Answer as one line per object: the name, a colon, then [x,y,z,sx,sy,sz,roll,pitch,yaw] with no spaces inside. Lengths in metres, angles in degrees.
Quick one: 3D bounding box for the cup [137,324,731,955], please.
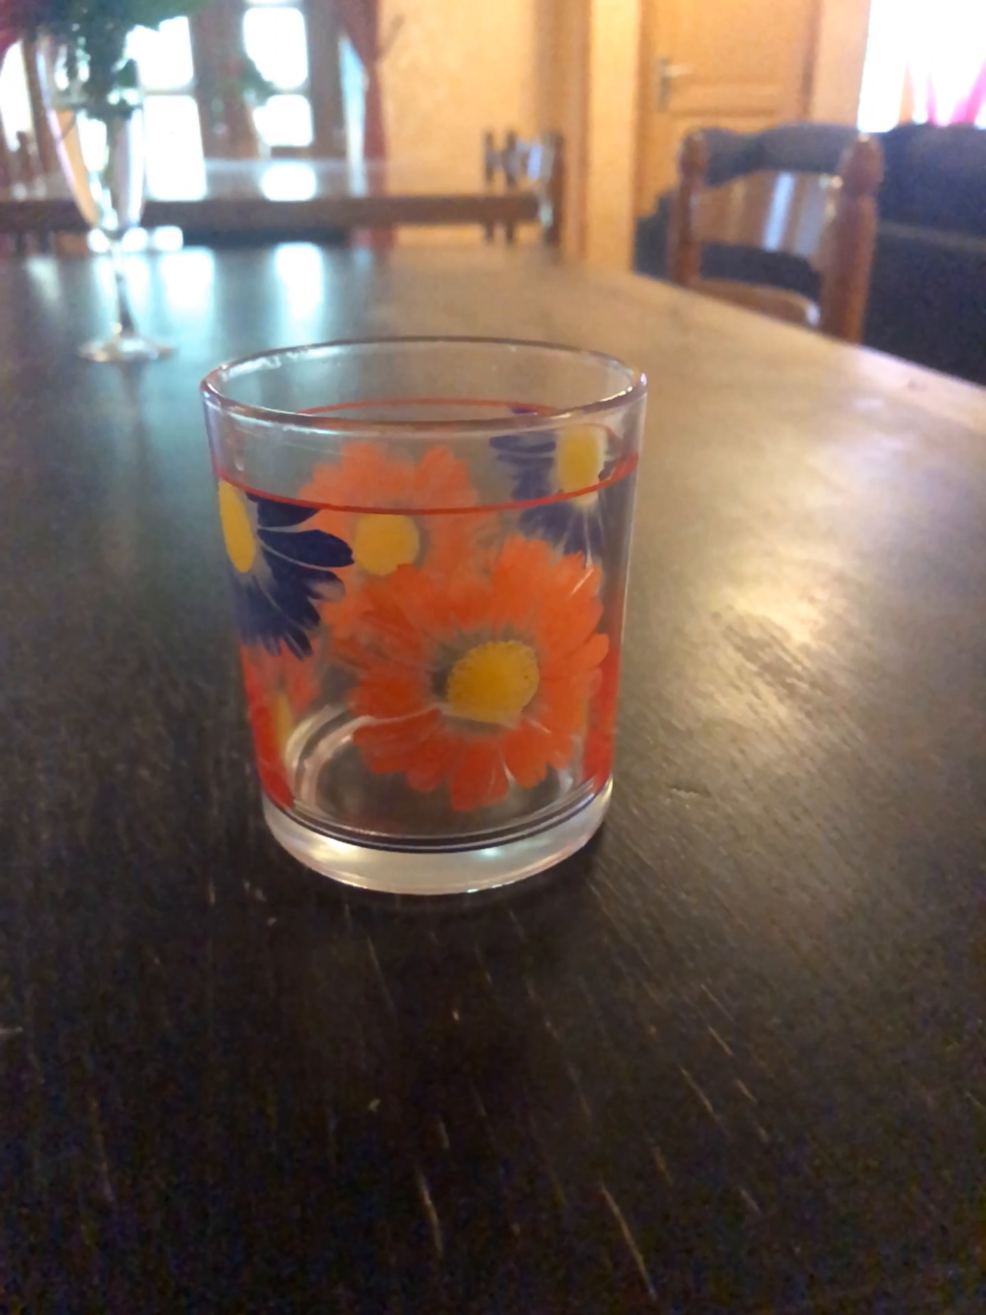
cup: [-0.014,-0.010,0.193,0.078,0.079,0.076,0,25,0]
